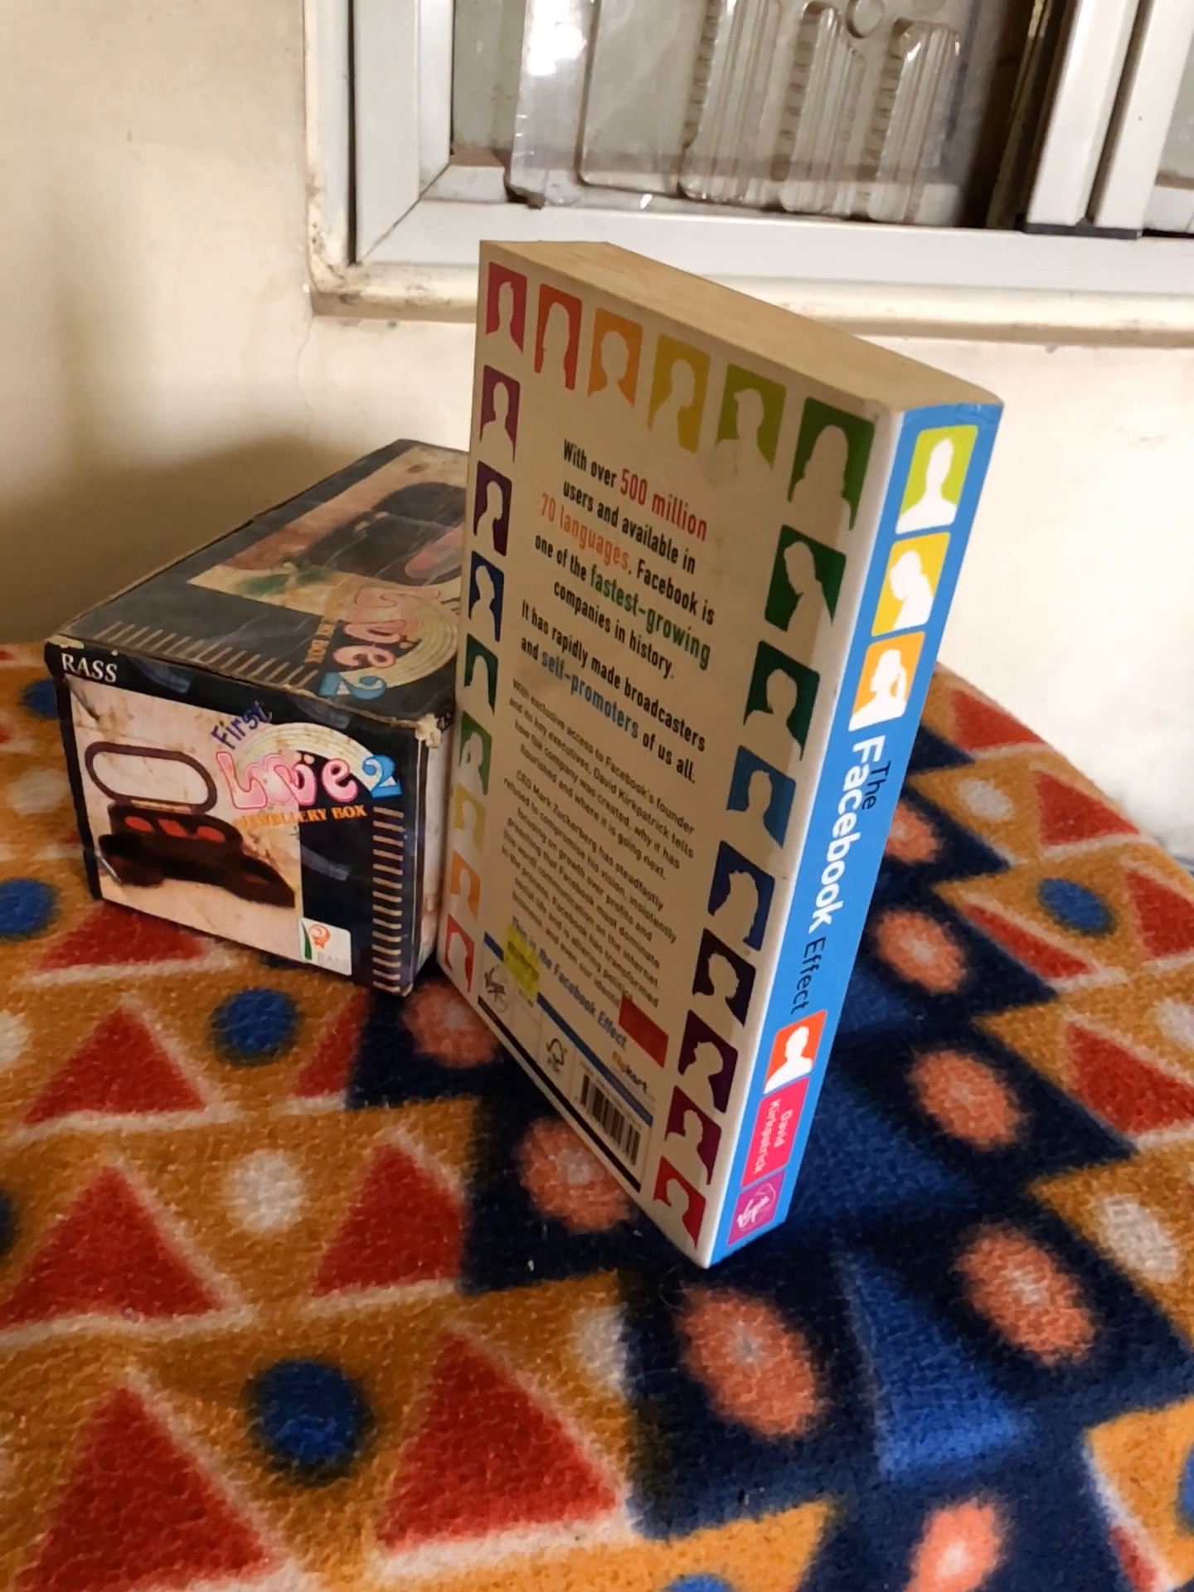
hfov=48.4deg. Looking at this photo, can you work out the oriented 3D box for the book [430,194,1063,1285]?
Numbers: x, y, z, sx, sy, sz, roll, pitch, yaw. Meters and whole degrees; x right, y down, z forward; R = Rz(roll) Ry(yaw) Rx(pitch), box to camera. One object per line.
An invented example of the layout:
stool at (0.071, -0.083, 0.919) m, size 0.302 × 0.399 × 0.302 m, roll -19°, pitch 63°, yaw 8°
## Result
book at (0.013, -0.015, 0.325) m, size 0.040 × 0.219 × 0.150 m, roll -17°, pitch 38°, yaw -30°
